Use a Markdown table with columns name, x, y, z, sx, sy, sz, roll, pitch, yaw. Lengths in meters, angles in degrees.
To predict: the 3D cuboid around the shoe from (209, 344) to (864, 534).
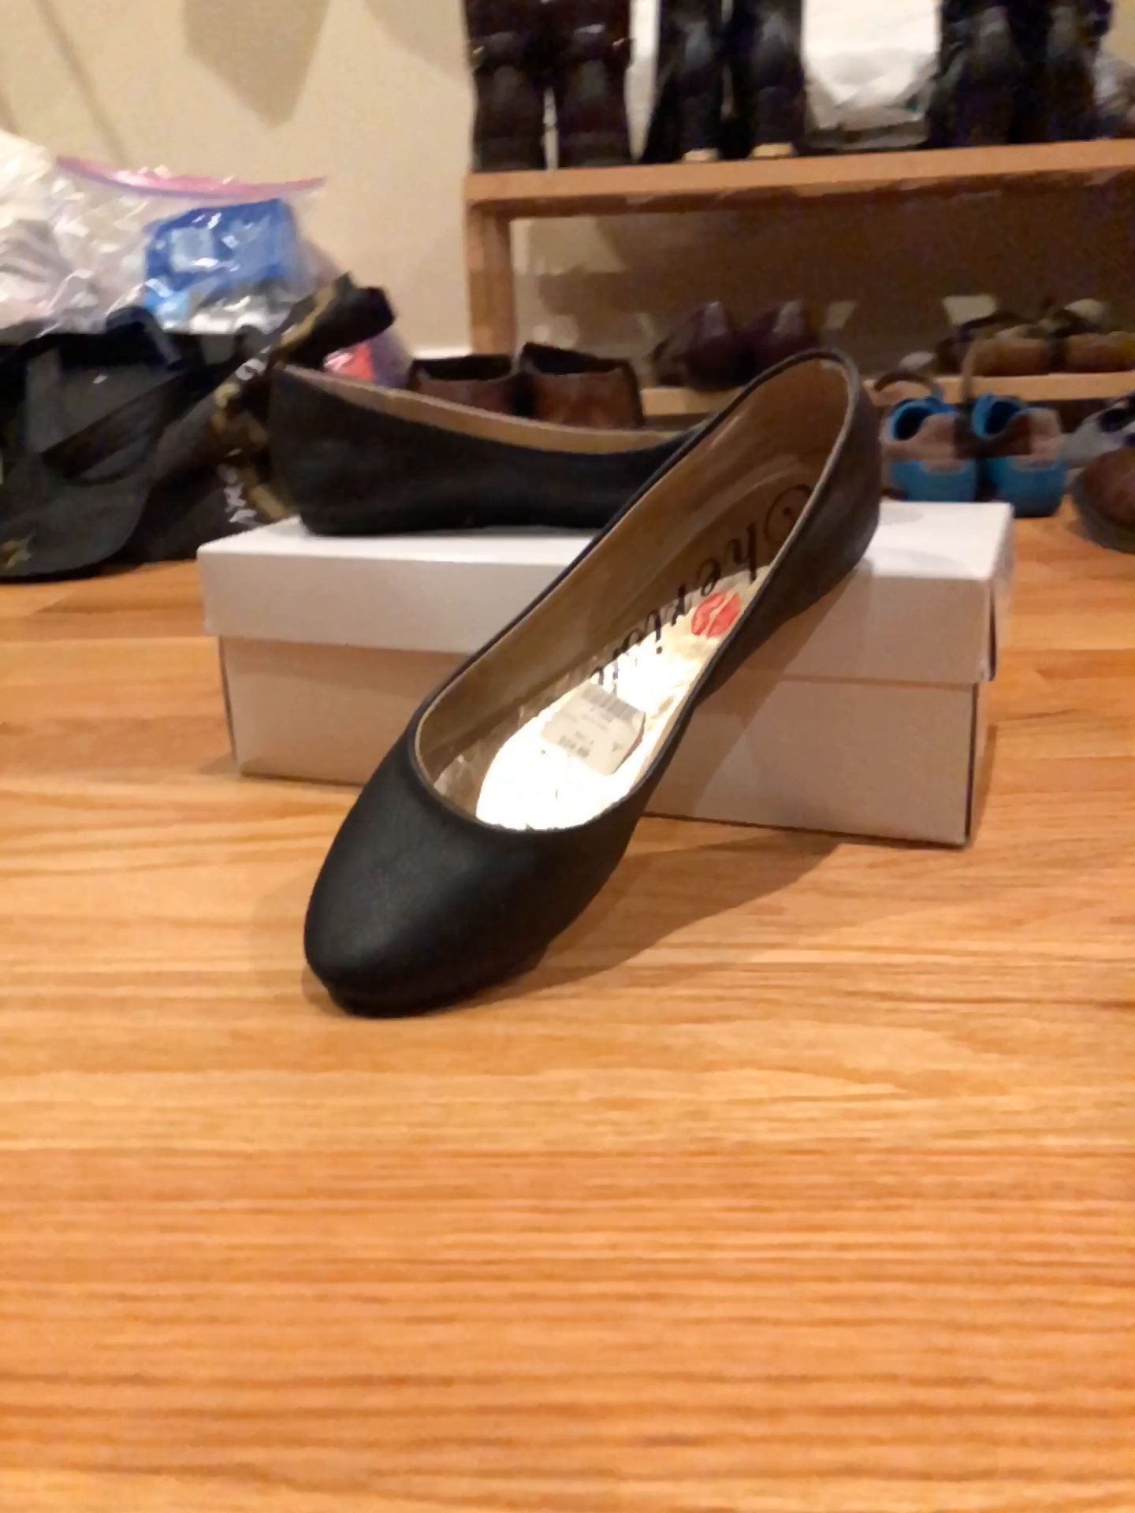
| name | x | y | z | sx | sy | sz | roll | pitch | yaw |
| --- | --- | --- | --- | --- | --- | --- | --- | --- | --- |
| shoe | -0.009 | -0.124 | 0.488 | 0.239 | 0.060 | 0.076 | 2 | 19 | 12 |

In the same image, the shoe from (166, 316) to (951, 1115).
| name | x | y | z | sx | sy | sz | roll | pitch | yaw |
| --- | --- | --- | --- | --- | --- | --- | --- | --- | --- |
| shoe | 0.005 | -0.020 | 0.368 | 0.240 | 0.060 | 0.076 | -47 | 52 | -12 |
